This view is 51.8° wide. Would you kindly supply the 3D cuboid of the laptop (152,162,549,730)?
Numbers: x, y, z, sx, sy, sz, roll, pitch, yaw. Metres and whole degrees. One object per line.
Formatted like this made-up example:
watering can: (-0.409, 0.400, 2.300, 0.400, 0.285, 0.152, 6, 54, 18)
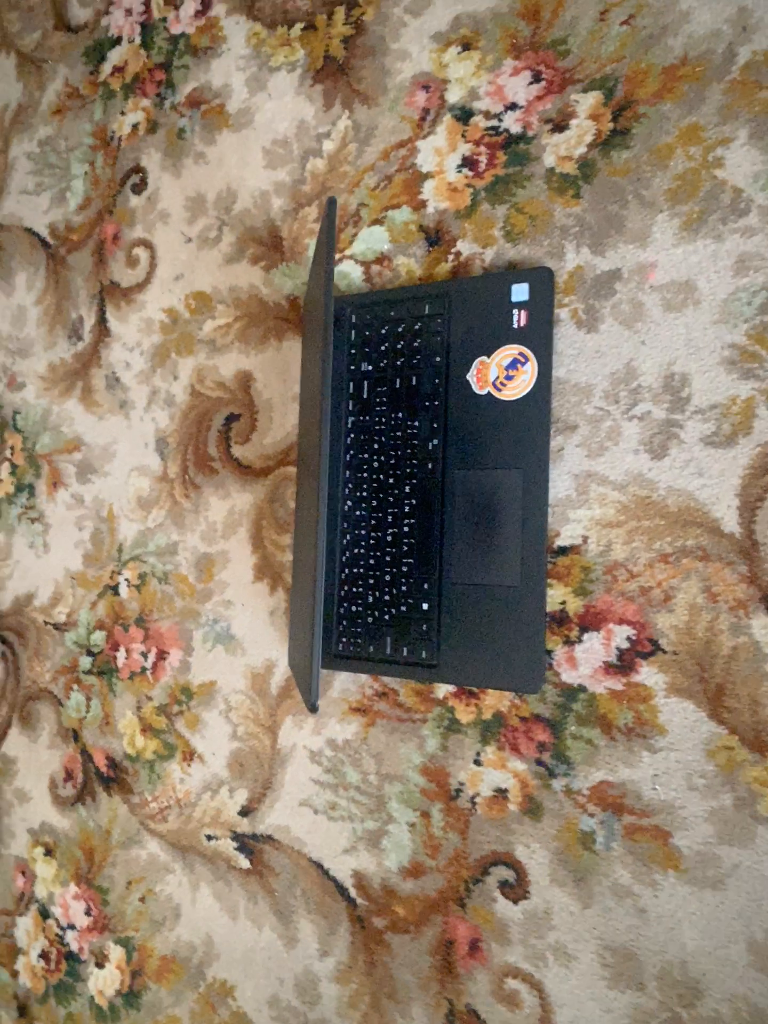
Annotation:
laptop: (-0.018, -0.039, 0.651, 0.252, 0.193, 0.367, -1, 84, 29)
